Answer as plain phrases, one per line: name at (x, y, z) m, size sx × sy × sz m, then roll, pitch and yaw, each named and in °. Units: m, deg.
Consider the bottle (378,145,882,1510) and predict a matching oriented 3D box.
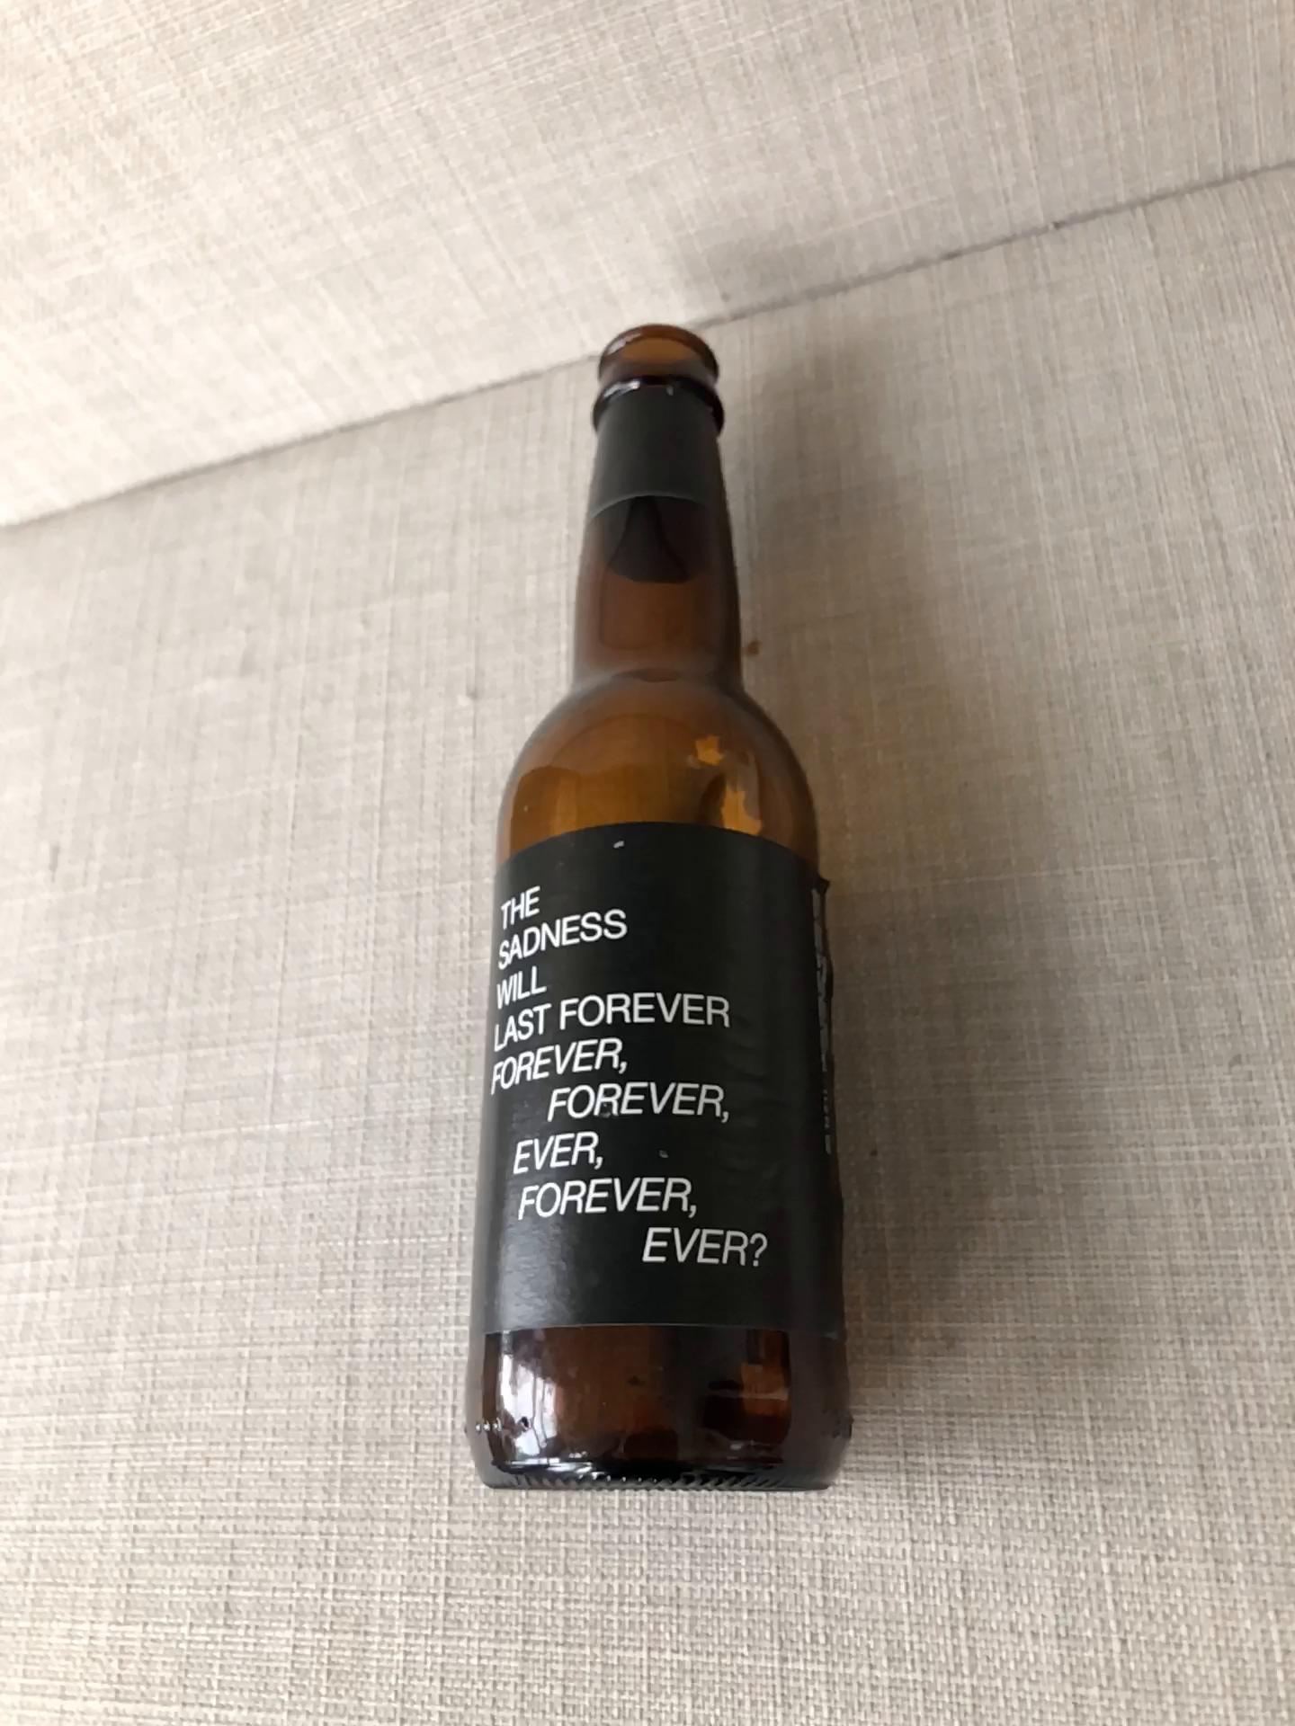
bottle at (0.000, -0.013, 0.268) m, size 0.060 × 0.060 × 0.239 m, roll -8°, pitch 66°, yaw 18°
